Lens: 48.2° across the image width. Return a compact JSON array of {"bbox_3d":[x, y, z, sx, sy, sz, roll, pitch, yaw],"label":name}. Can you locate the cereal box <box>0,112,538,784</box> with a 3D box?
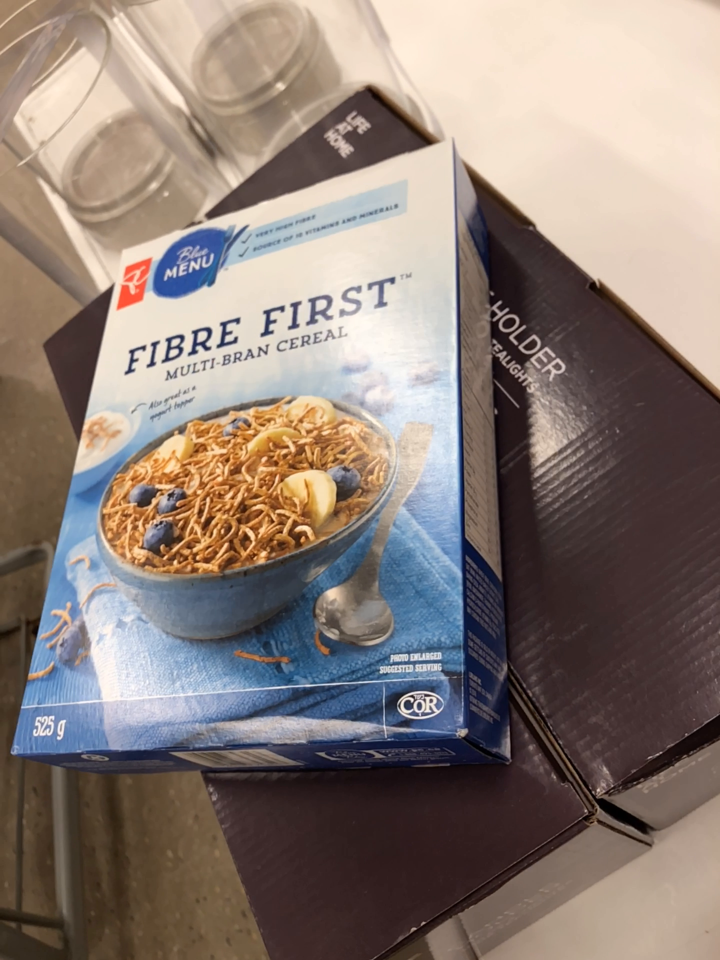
[{"bbox_3d":[-0.039,-0.011,0.348,0.200,0.060,0.260,-10,62,23],"label":"cereal box"}]
